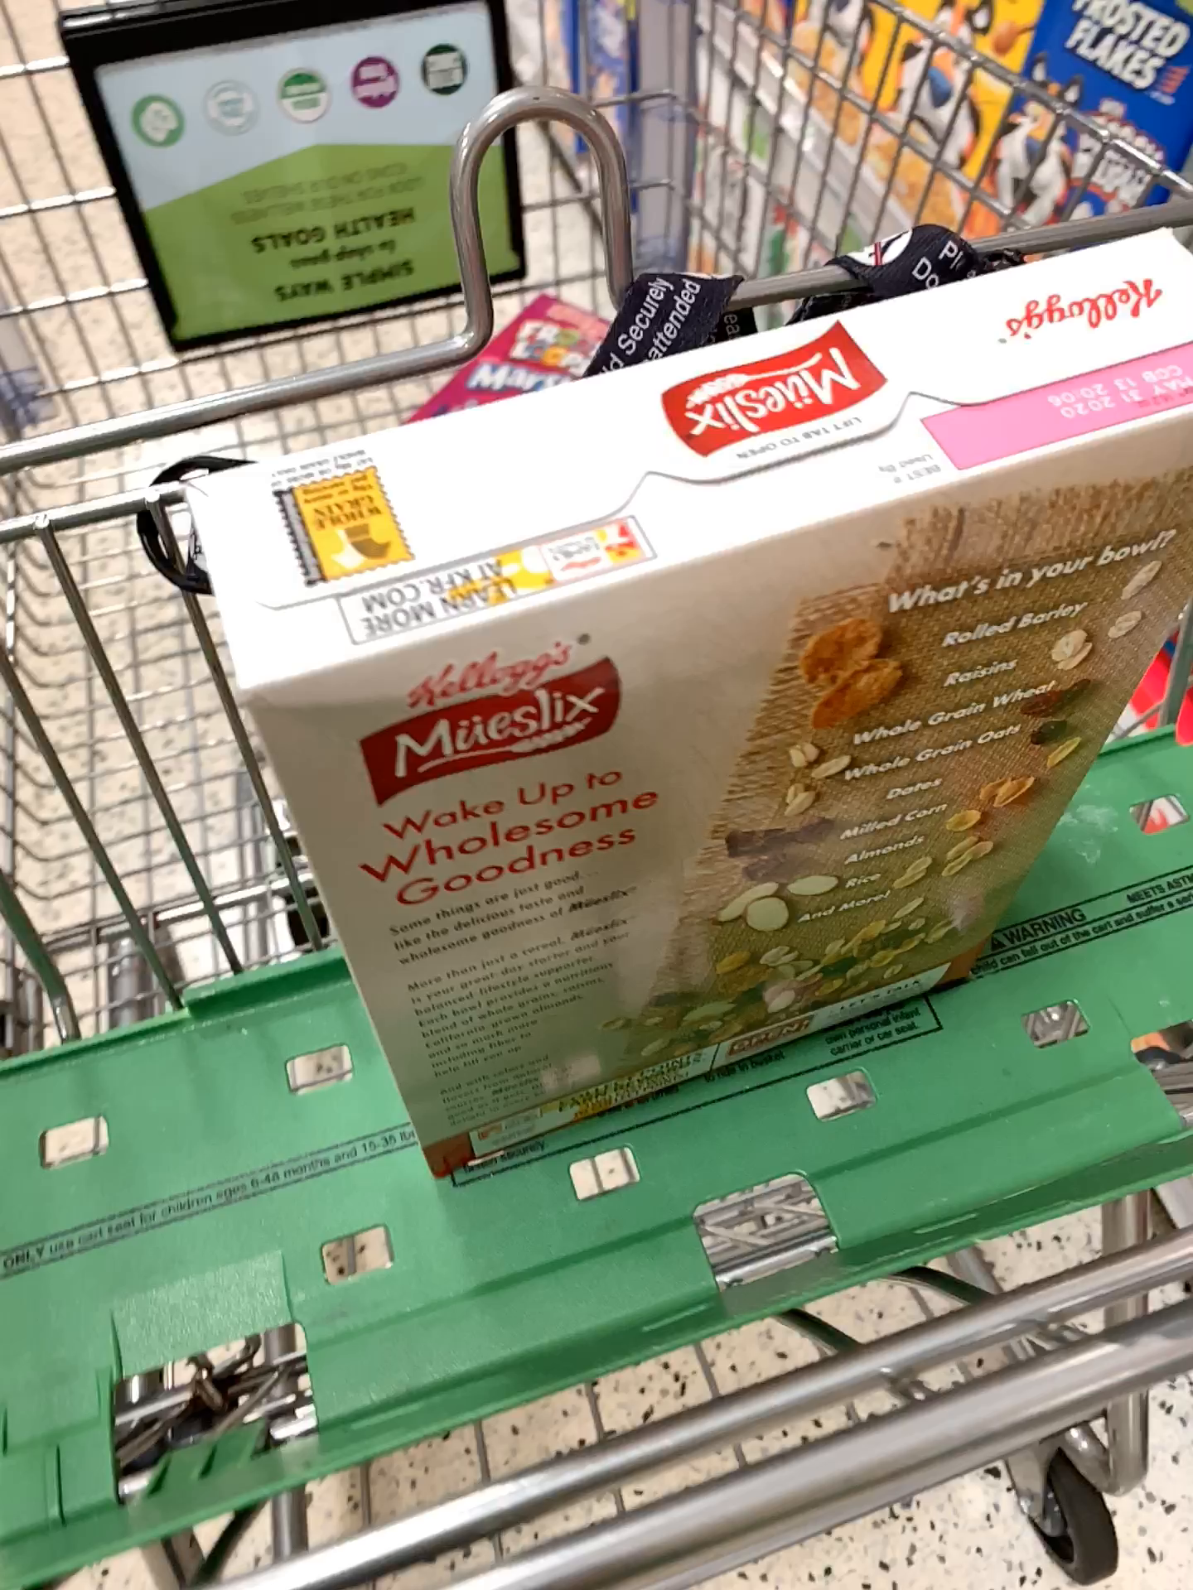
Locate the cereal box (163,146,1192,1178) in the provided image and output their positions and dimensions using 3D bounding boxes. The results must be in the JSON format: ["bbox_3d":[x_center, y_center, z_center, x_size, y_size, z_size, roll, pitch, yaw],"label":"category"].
[{"bbox_3d":[0.034,-0.001,0.292,0.190,0.248,0.050,-17,59,-11],"label":"cereal box"}]
